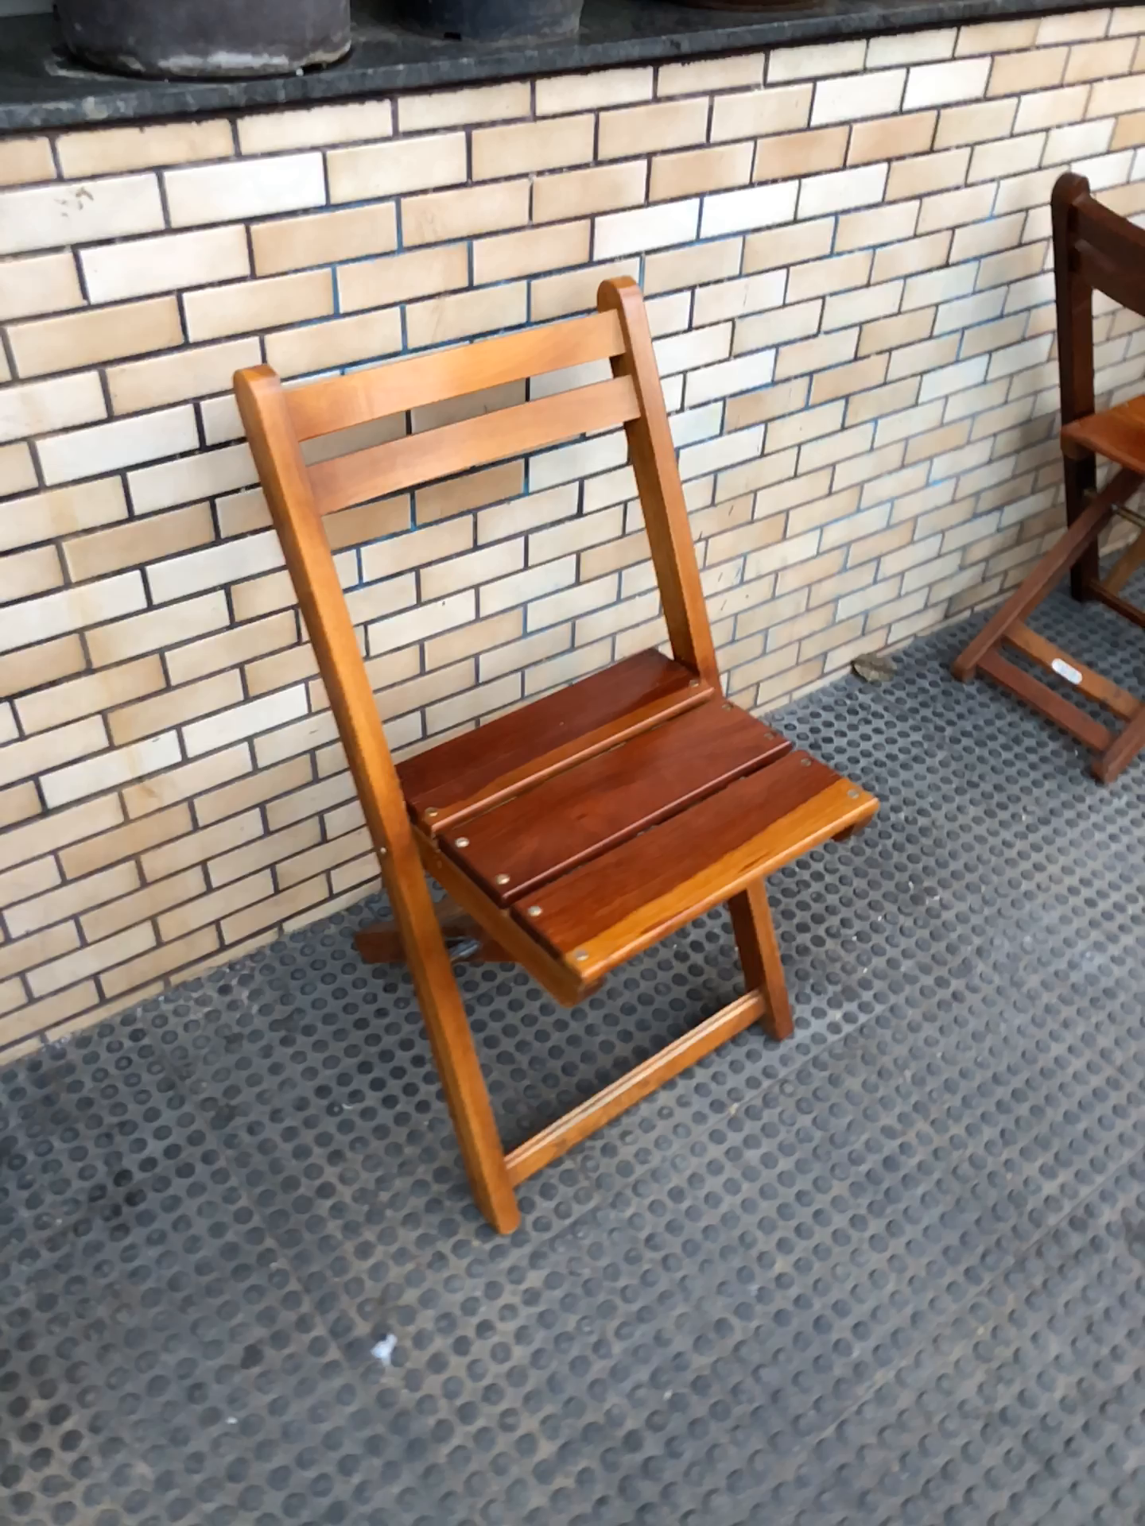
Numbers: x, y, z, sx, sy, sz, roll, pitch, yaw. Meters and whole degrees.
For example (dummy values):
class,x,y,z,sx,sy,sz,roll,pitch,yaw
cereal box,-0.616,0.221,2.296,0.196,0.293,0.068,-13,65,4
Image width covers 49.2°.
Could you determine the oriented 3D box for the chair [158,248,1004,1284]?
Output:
class,x,y,z,sx,sy,sz,roll,pitch,yaw
chair,-0.021,-0.009,1.233,0.472,0.764,0.492,-26,47,-32
